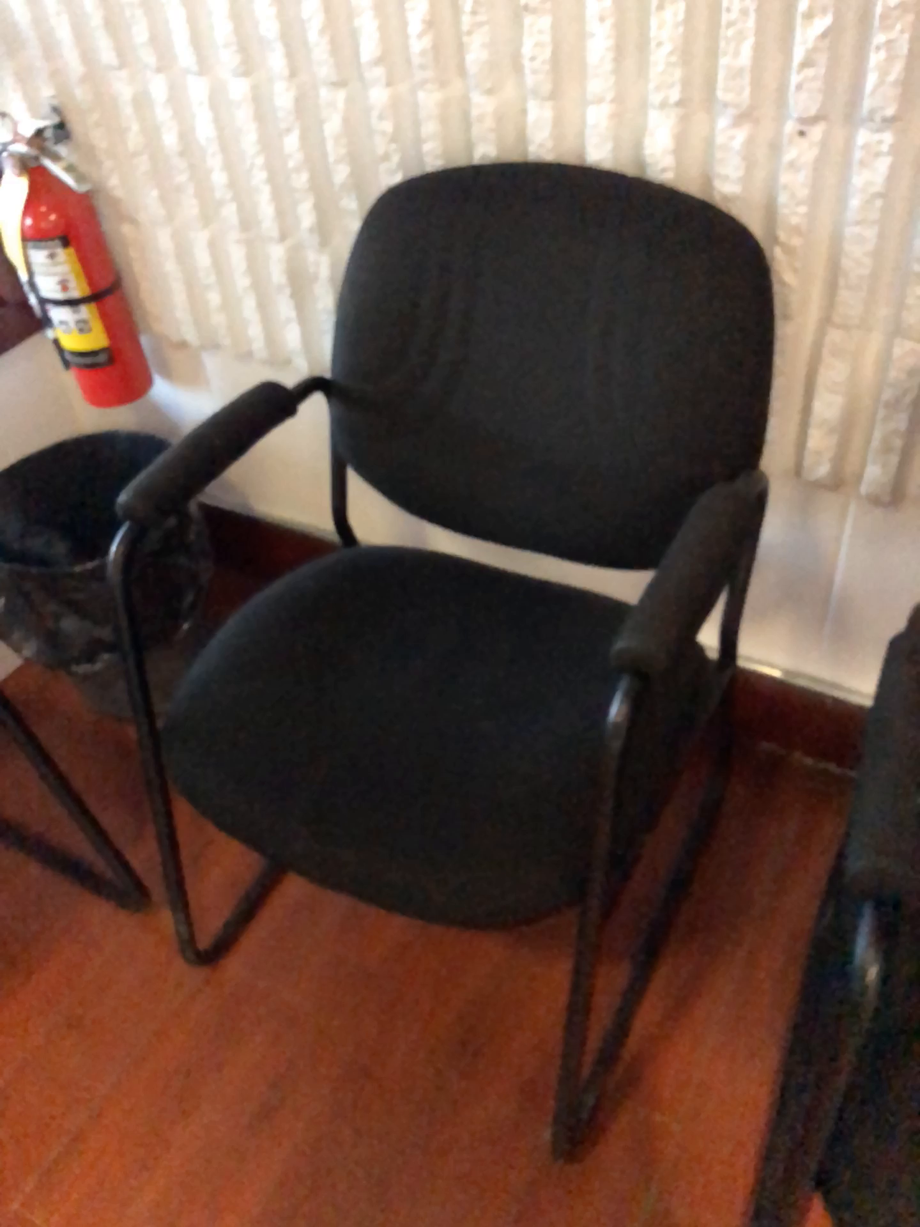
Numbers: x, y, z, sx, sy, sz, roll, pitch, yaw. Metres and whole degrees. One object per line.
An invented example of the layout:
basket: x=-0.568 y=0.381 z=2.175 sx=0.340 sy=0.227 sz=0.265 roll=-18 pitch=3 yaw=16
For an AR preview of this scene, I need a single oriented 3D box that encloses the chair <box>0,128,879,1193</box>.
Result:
chair: x=0.023 y=0.007 z=1.178 sx=0.592 sy=0.794 sz=0.773 roll=16 pitch=48 yaw=24
